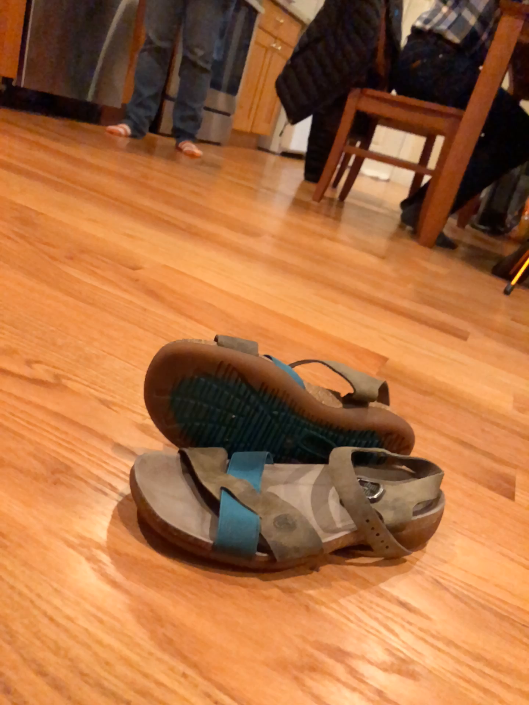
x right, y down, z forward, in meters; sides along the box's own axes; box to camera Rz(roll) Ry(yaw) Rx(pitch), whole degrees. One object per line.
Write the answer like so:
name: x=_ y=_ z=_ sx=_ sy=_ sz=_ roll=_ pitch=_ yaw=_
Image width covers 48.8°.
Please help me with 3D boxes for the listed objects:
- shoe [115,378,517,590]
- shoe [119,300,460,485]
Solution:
shoe: x=0.032 y=0.087 z=0.396 sx=0.240 sy=0.075 sz=0.105 roll=7 pitch=23 yaw=-24
shoe: x=0.020 y=0.037 z=0.453 sx=0.238 sy=0.104 sz=0.065 roll=7 pitch=23 yaw=-24
